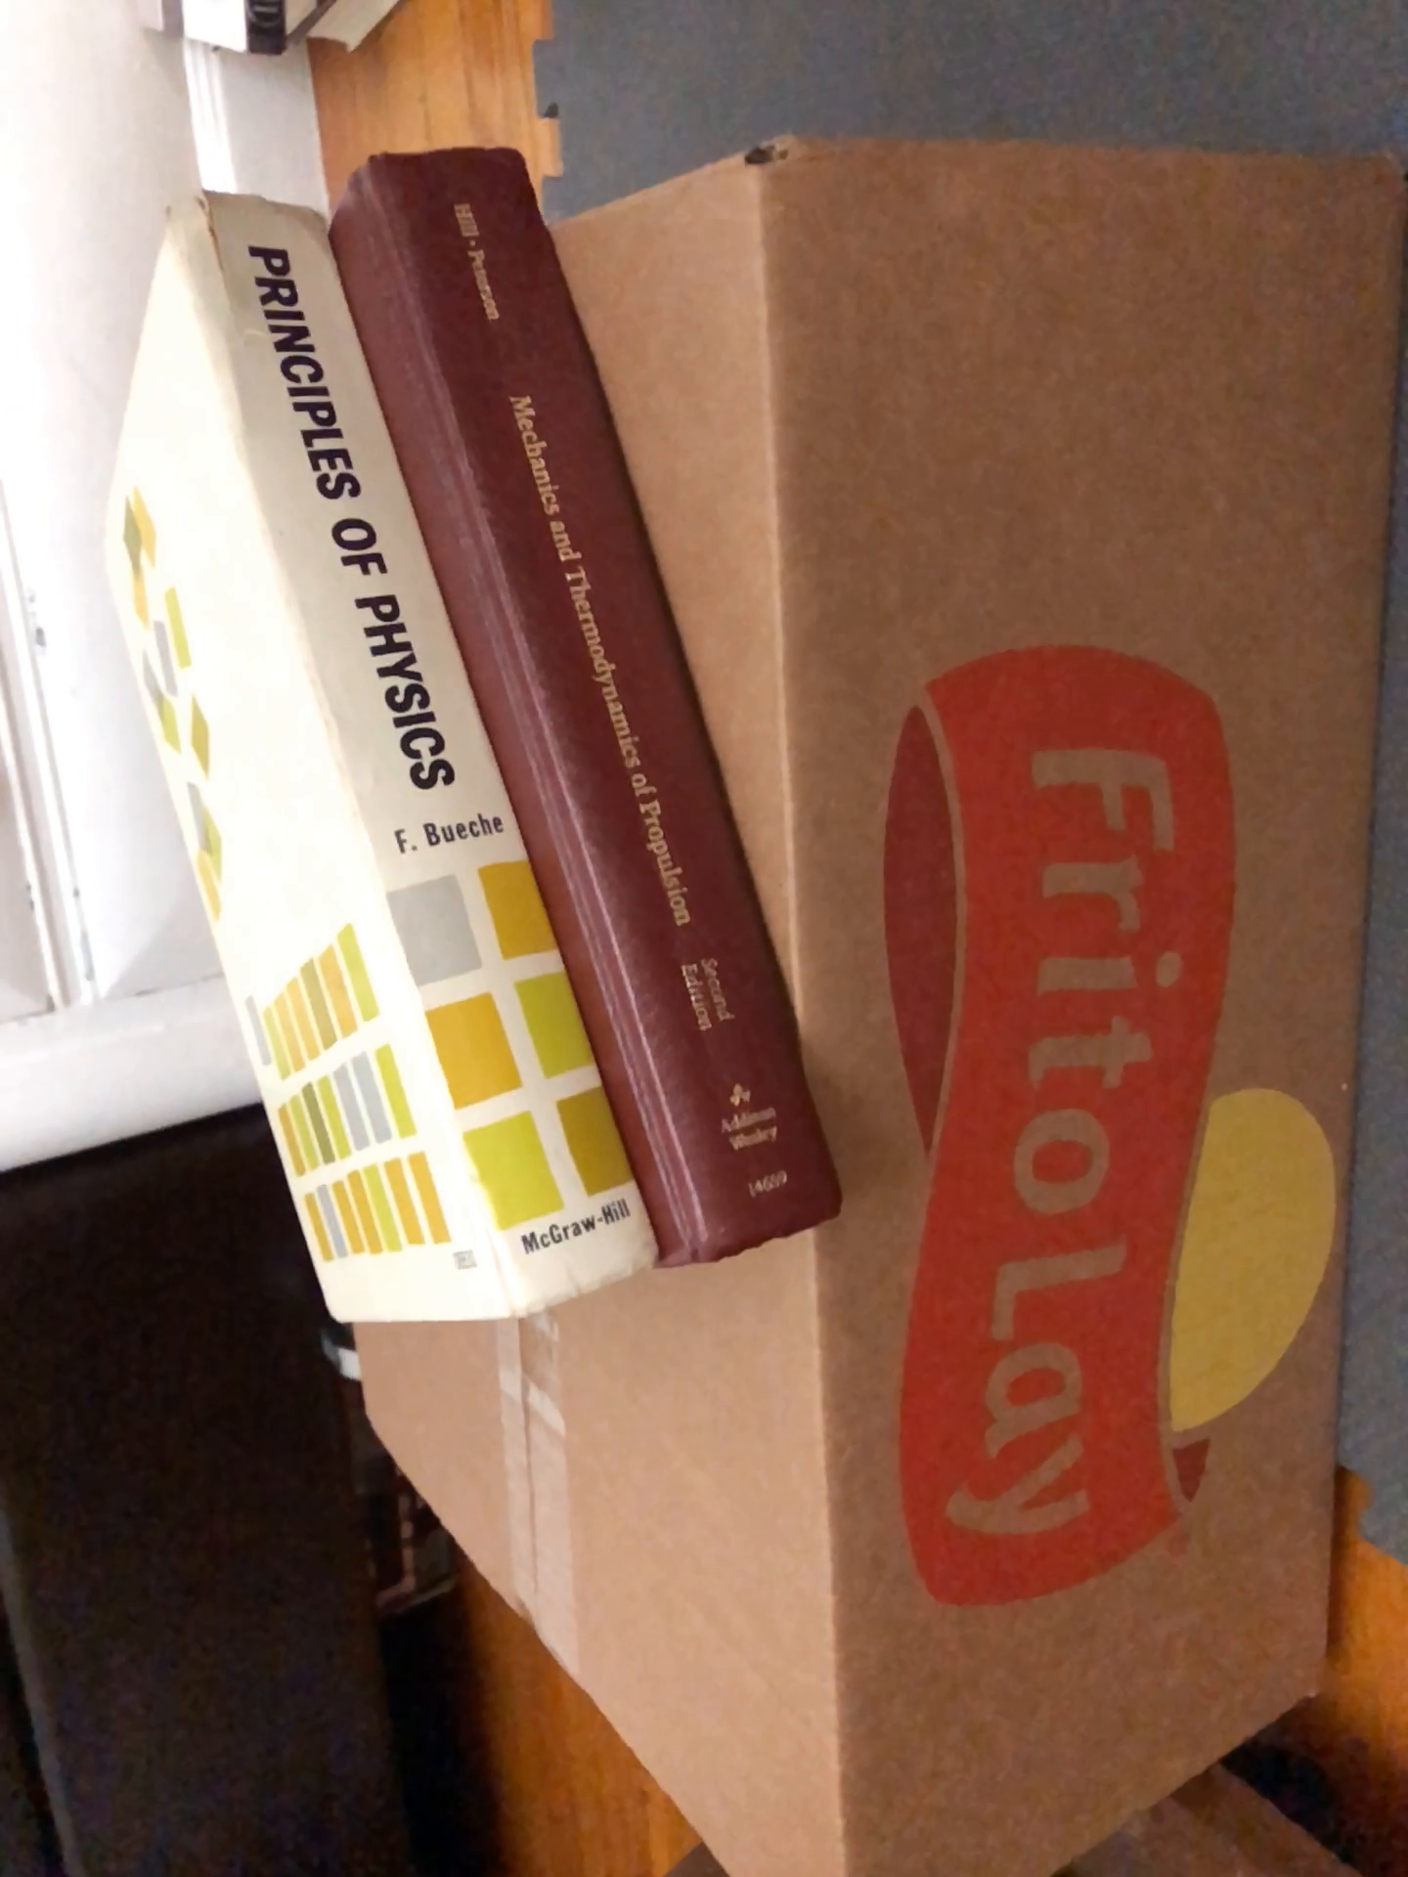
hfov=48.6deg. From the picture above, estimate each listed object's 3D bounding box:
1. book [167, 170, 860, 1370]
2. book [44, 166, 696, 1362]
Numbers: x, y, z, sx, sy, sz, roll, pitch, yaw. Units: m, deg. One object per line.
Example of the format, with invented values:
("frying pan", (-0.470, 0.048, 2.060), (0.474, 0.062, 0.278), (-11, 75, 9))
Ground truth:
("book", (-0.064, -0.024, 0.396), (0.181, 0.040, 0.250), (-21, 86, 60))
("book", (-0.100, -0.022, 0.392), (0.181, 0.040, 0.250), (-26, 81, 59))
